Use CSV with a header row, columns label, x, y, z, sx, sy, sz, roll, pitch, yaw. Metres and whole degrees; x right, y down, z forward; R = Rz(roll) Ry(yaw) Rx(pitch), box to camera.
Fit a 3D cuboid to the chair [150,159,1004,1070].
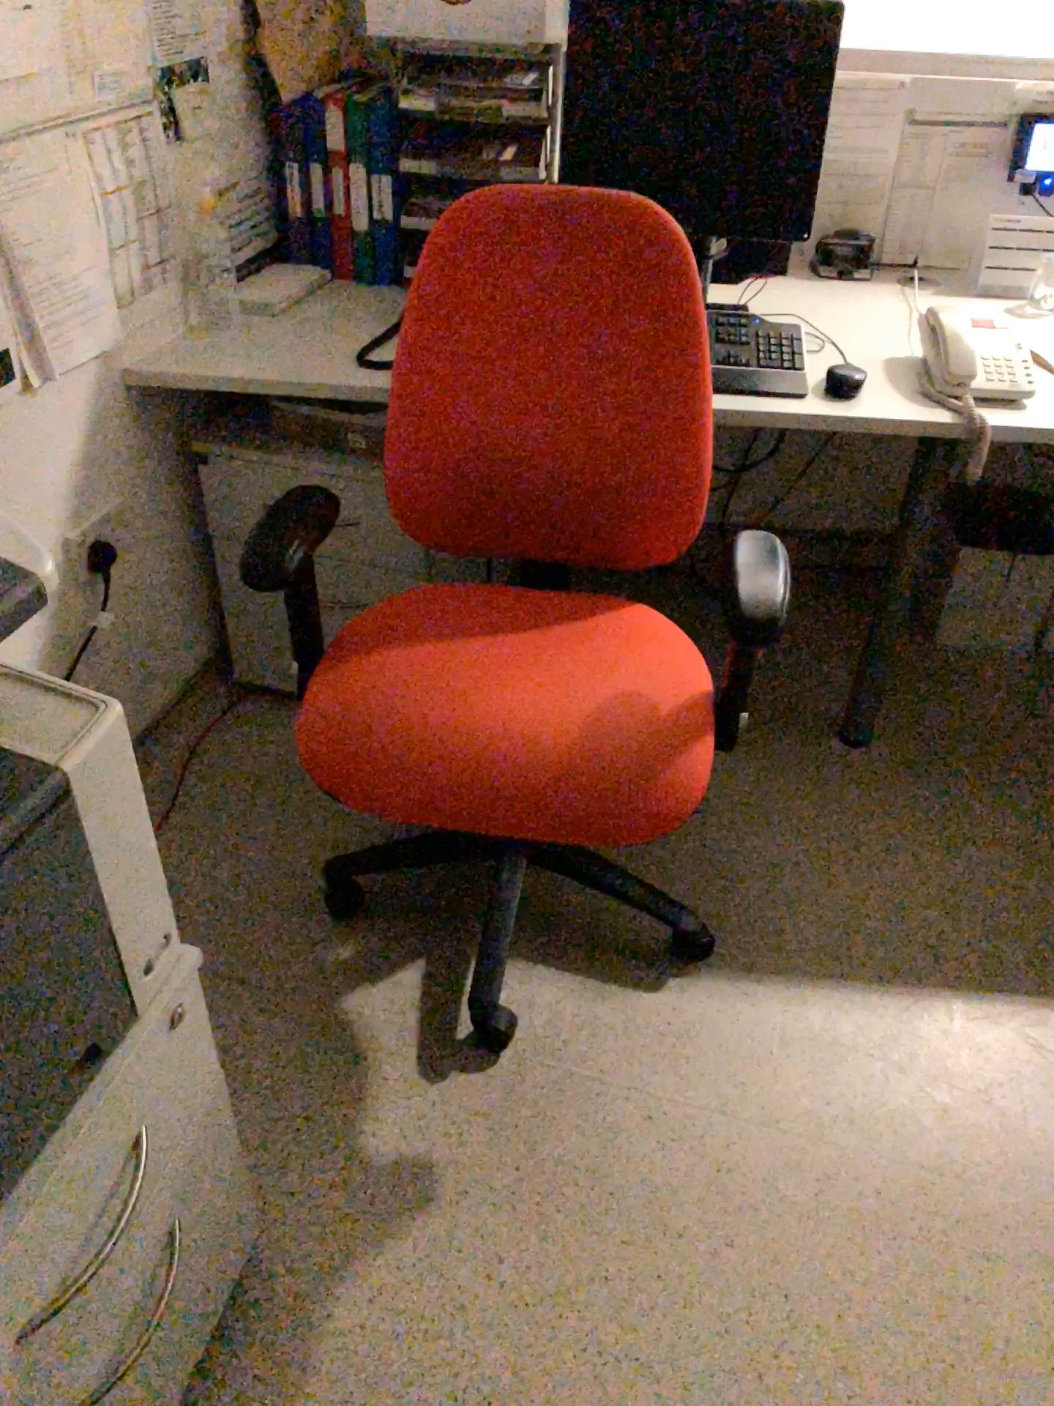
label,x,y,z,sx,sy,sz,roll,pitch,yaw
chair,0.037,-0.109,1.380,0.670,0.921,0.657,3,37,1
